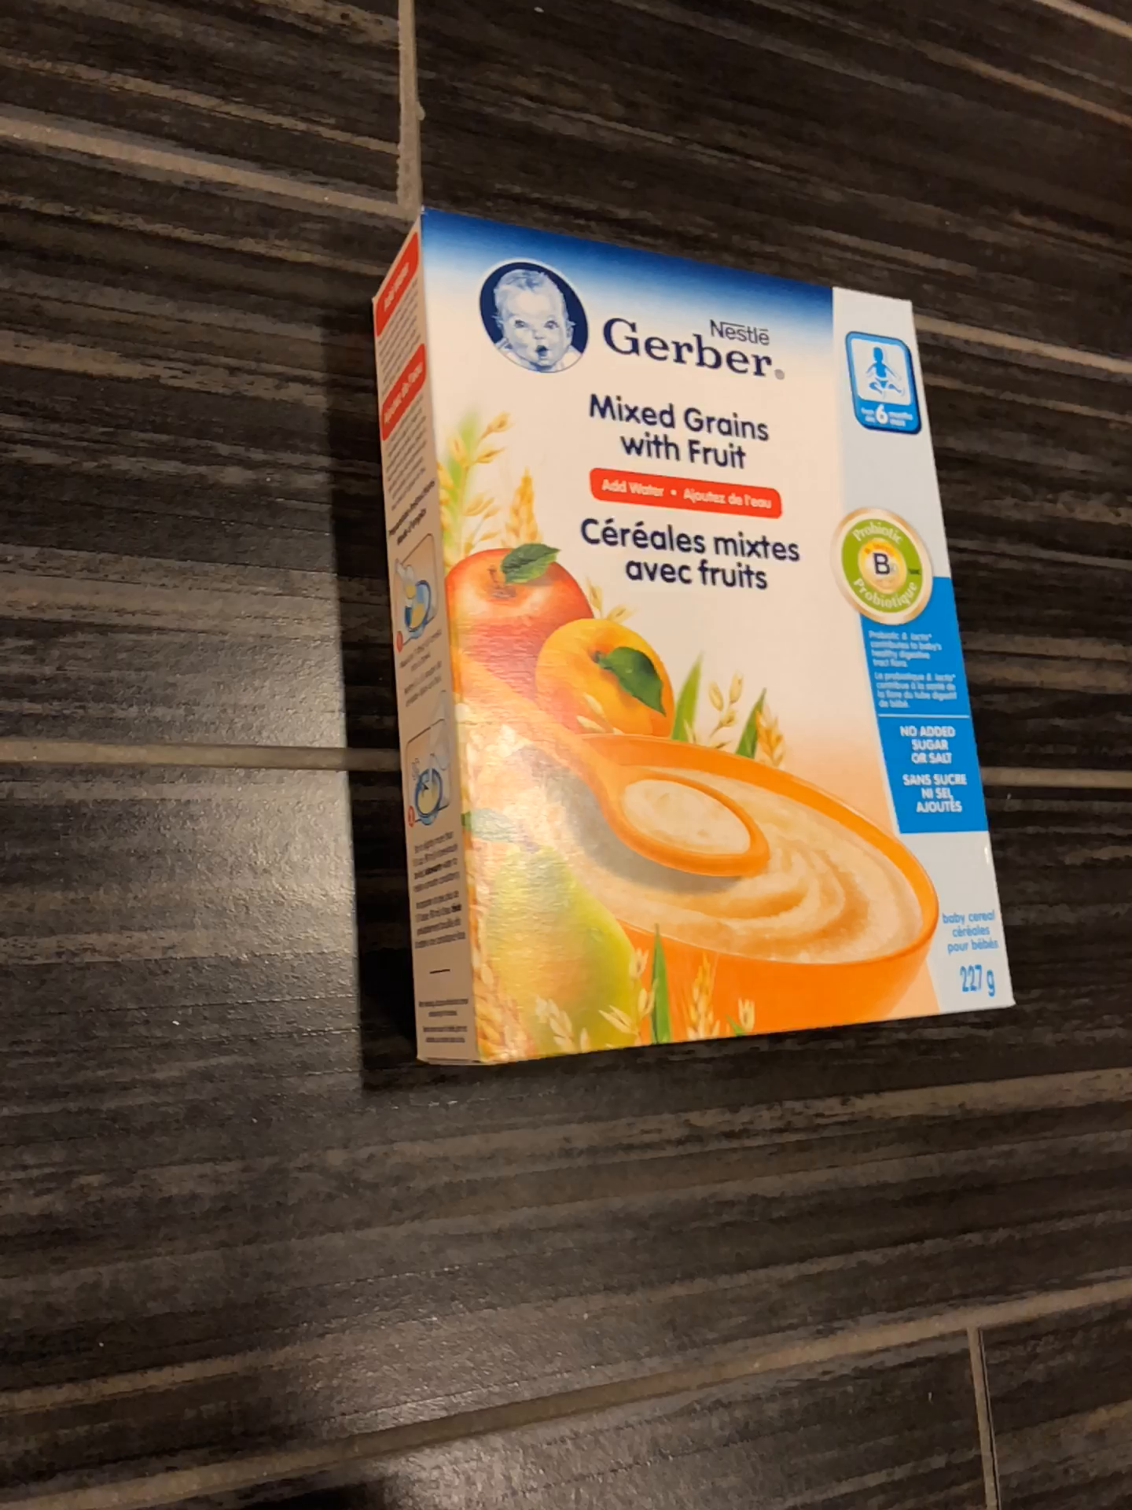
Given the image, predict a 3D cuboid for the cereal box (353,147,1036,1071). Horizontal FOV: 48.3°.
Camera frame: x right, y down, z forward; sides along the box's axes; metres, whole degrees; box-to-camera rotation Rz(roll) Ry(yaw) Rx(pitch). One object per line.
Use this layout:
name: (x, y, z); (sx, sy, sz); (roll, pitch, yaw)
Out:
cereal box: (0.031, -0.031, 0.318); (0.150, 0.050, 0.200); (0, 79, -25)
